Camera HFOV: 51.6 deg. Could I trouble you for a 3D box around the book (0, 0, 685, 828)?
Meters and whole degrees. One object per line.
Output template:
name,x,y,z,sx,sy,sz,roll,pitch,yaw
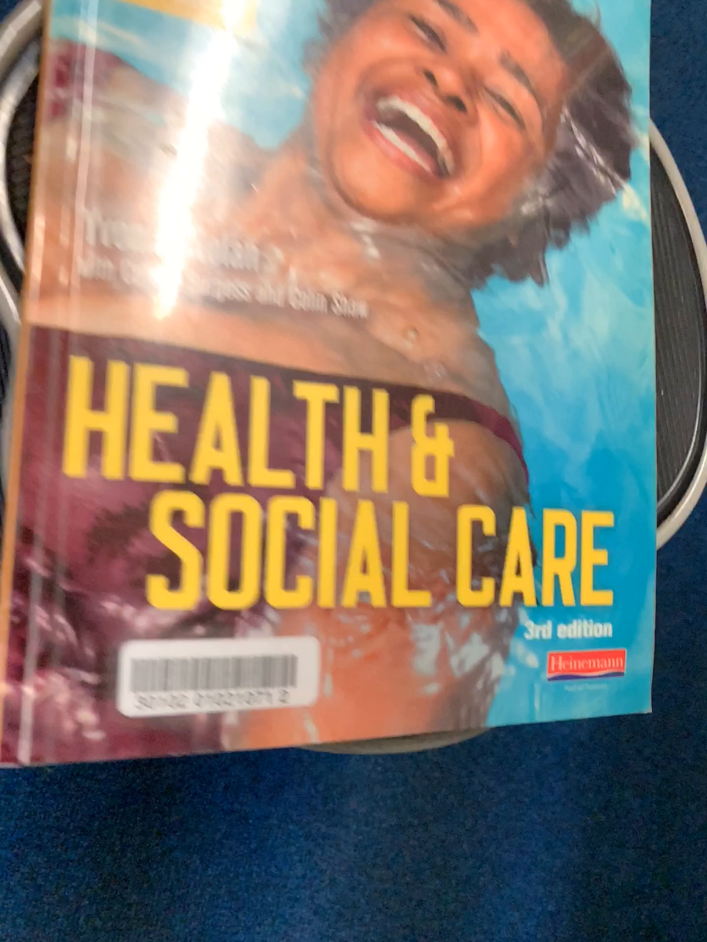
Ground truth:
book,0.004,-0.056,0.211,0.201,0.030,0.270,3,85,-21
